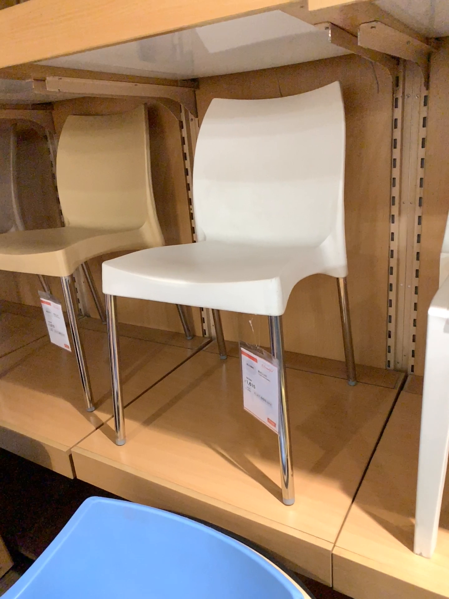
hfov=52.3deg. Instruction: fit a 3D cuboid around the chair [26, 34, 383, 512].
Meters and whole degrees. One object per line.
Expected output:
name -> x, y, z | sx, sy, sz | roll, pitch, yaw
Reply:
chair -> 0.037, -0.114, 1.269 | 0.611, 0.917, 0.681 | 6, 22, 30
